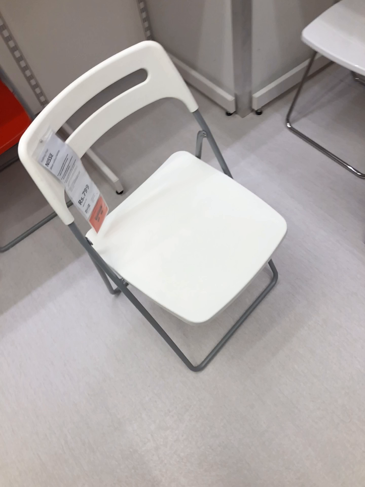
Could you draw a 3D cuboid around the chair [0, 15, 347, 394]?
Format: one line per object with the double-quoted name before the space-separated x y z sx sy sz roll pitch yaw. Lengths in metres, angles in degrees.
"chair" -0.026 -0.055 1.039 0.542 0.667 0.501 36 72 25
